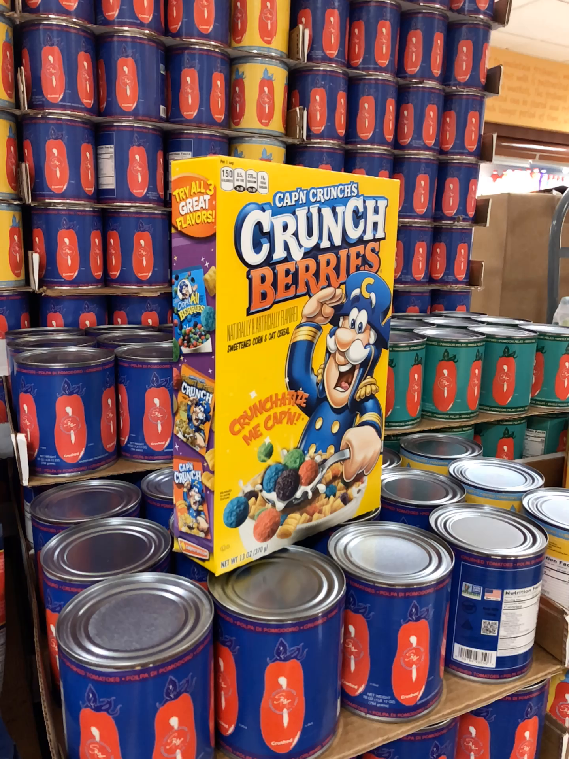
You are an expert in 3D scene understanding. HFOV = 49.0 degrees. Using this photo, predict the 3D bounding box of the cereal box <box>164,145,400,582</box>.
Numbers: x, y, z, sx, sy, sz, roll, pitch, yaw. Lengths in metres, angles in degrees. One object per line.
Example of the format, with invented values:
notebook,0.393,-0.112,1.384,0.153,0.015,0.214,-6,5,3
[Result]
cereal box,0.002,-0.018,0.505,0.191,0.299,0.060,-9,16,-43
